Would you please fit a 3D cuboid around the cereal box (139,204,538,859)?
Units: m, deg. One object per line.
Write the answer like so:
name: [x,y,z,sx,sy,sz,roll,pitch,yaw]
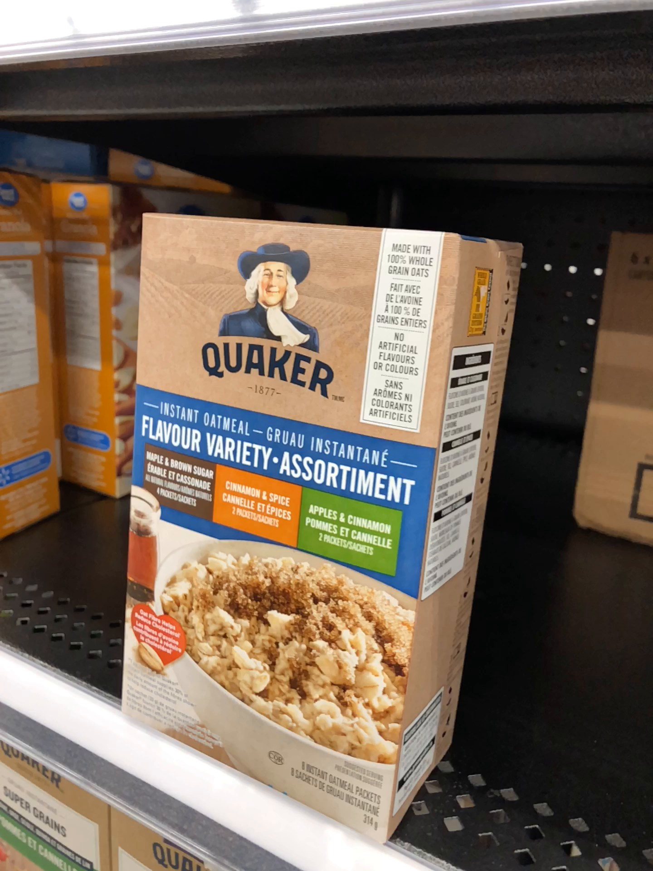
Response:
cereal box: [-0.002,0.026,0.279,0.120,0.209,0.060,11,13,27]
